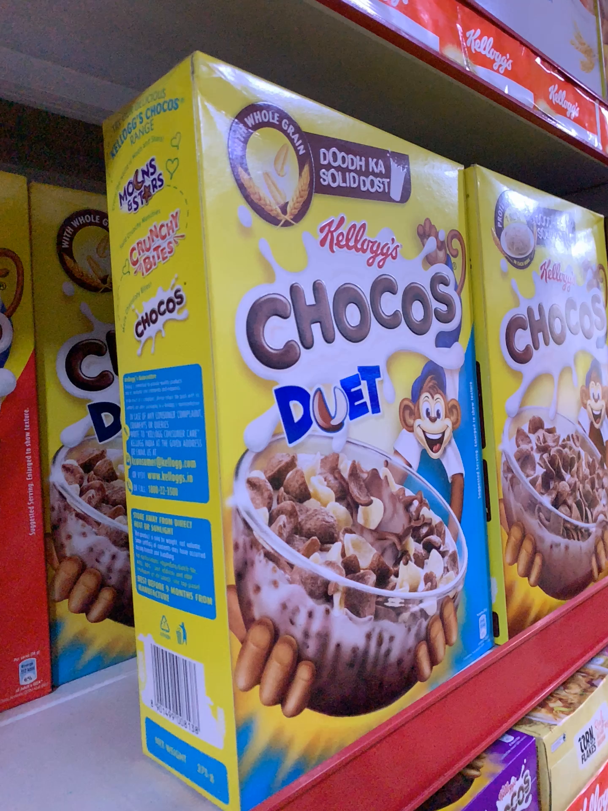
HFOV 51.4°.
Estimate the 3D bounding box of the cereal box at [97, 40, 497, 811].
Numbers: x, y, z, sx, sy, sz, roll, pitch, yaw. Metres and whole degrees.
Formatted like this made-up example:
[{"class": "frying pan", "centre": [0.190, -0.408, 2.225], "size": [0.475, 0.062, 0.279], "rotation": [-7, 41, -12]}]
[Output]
[{"class": "cereal box", "centre": [0.010, 0.007, 0.279], "size": [0.060, 0.250, 0.170], "rotation": [-3, 0, 44]}]
